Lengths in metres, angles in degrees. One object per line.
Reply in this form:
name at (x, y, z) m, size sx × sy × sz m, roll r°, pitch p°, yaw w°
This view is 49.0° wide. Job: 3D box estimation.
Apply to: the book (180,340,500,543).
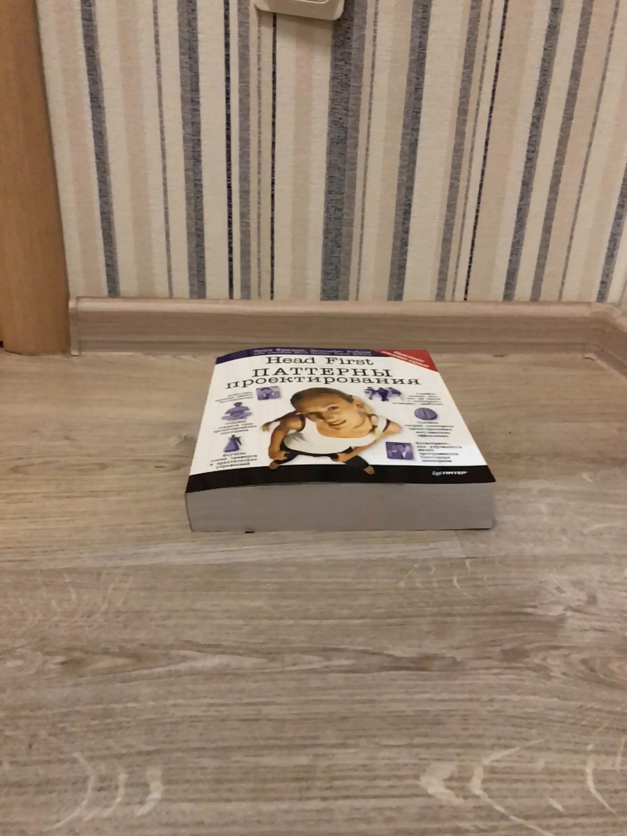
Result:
book at (0.011, 0.006, 0.558) m, size 0.206 × 0.049 × 0.242 m, roll 1°, pitch 28°, yaw -4°
